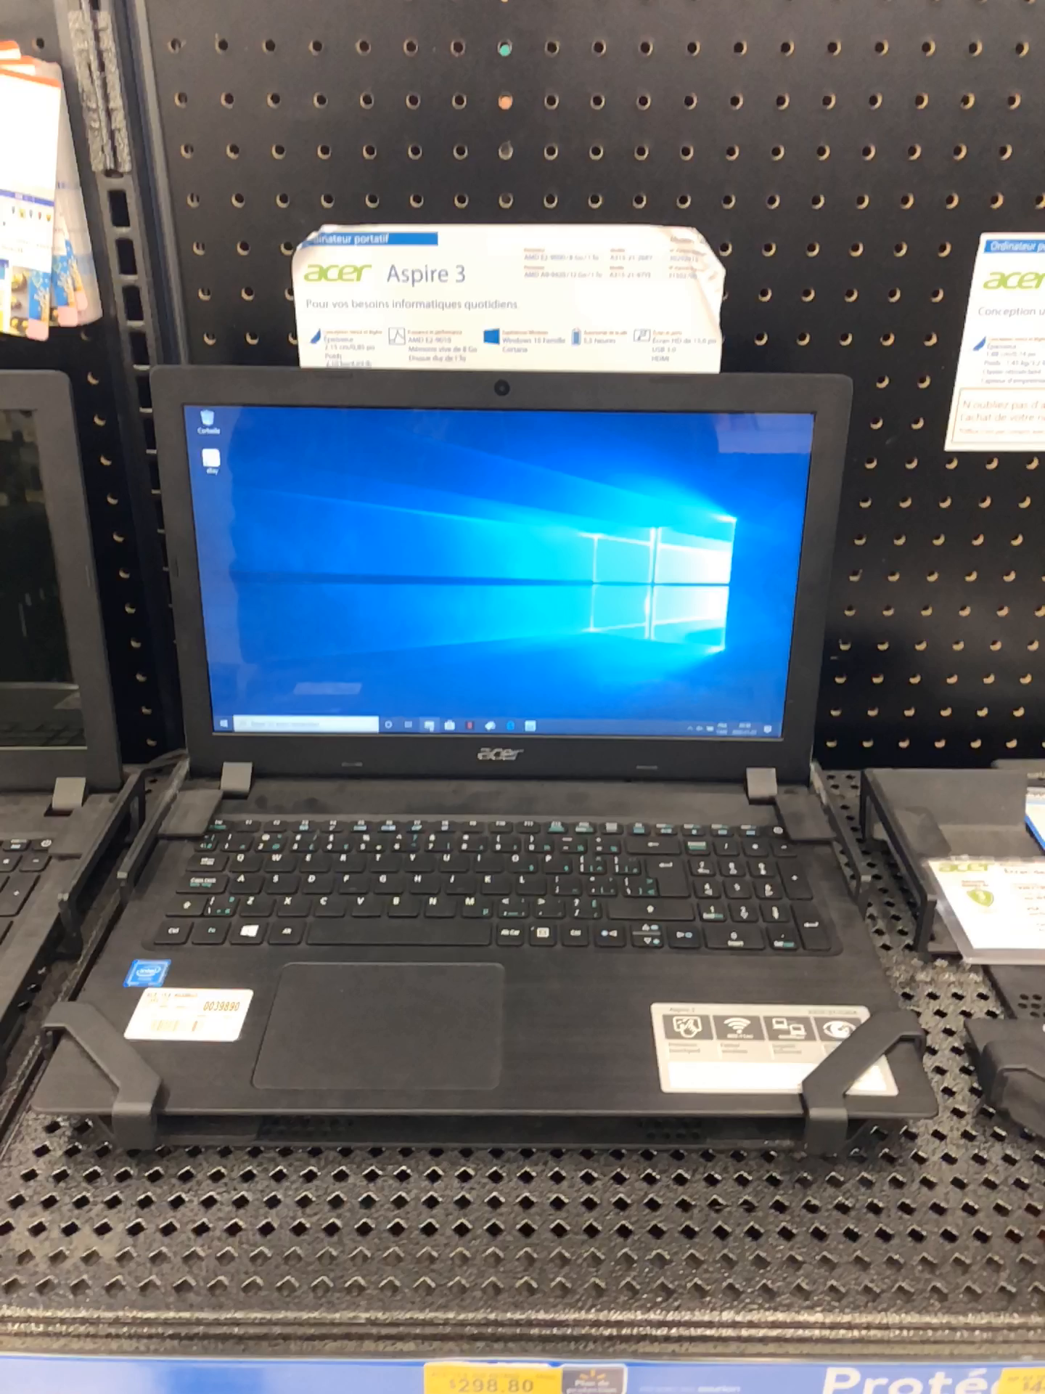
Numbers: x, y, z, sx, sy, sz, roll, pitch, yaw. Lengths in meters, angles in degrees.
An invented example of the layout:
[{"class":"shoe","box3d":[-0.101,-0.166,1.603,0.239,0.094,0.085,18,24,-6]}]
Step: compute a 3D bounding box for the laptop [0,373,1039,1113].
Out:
[{"class":"laptop","box3d":[-0.017,-0.003,0.573,0.386,0.247,0.296,0,27,1]}]
